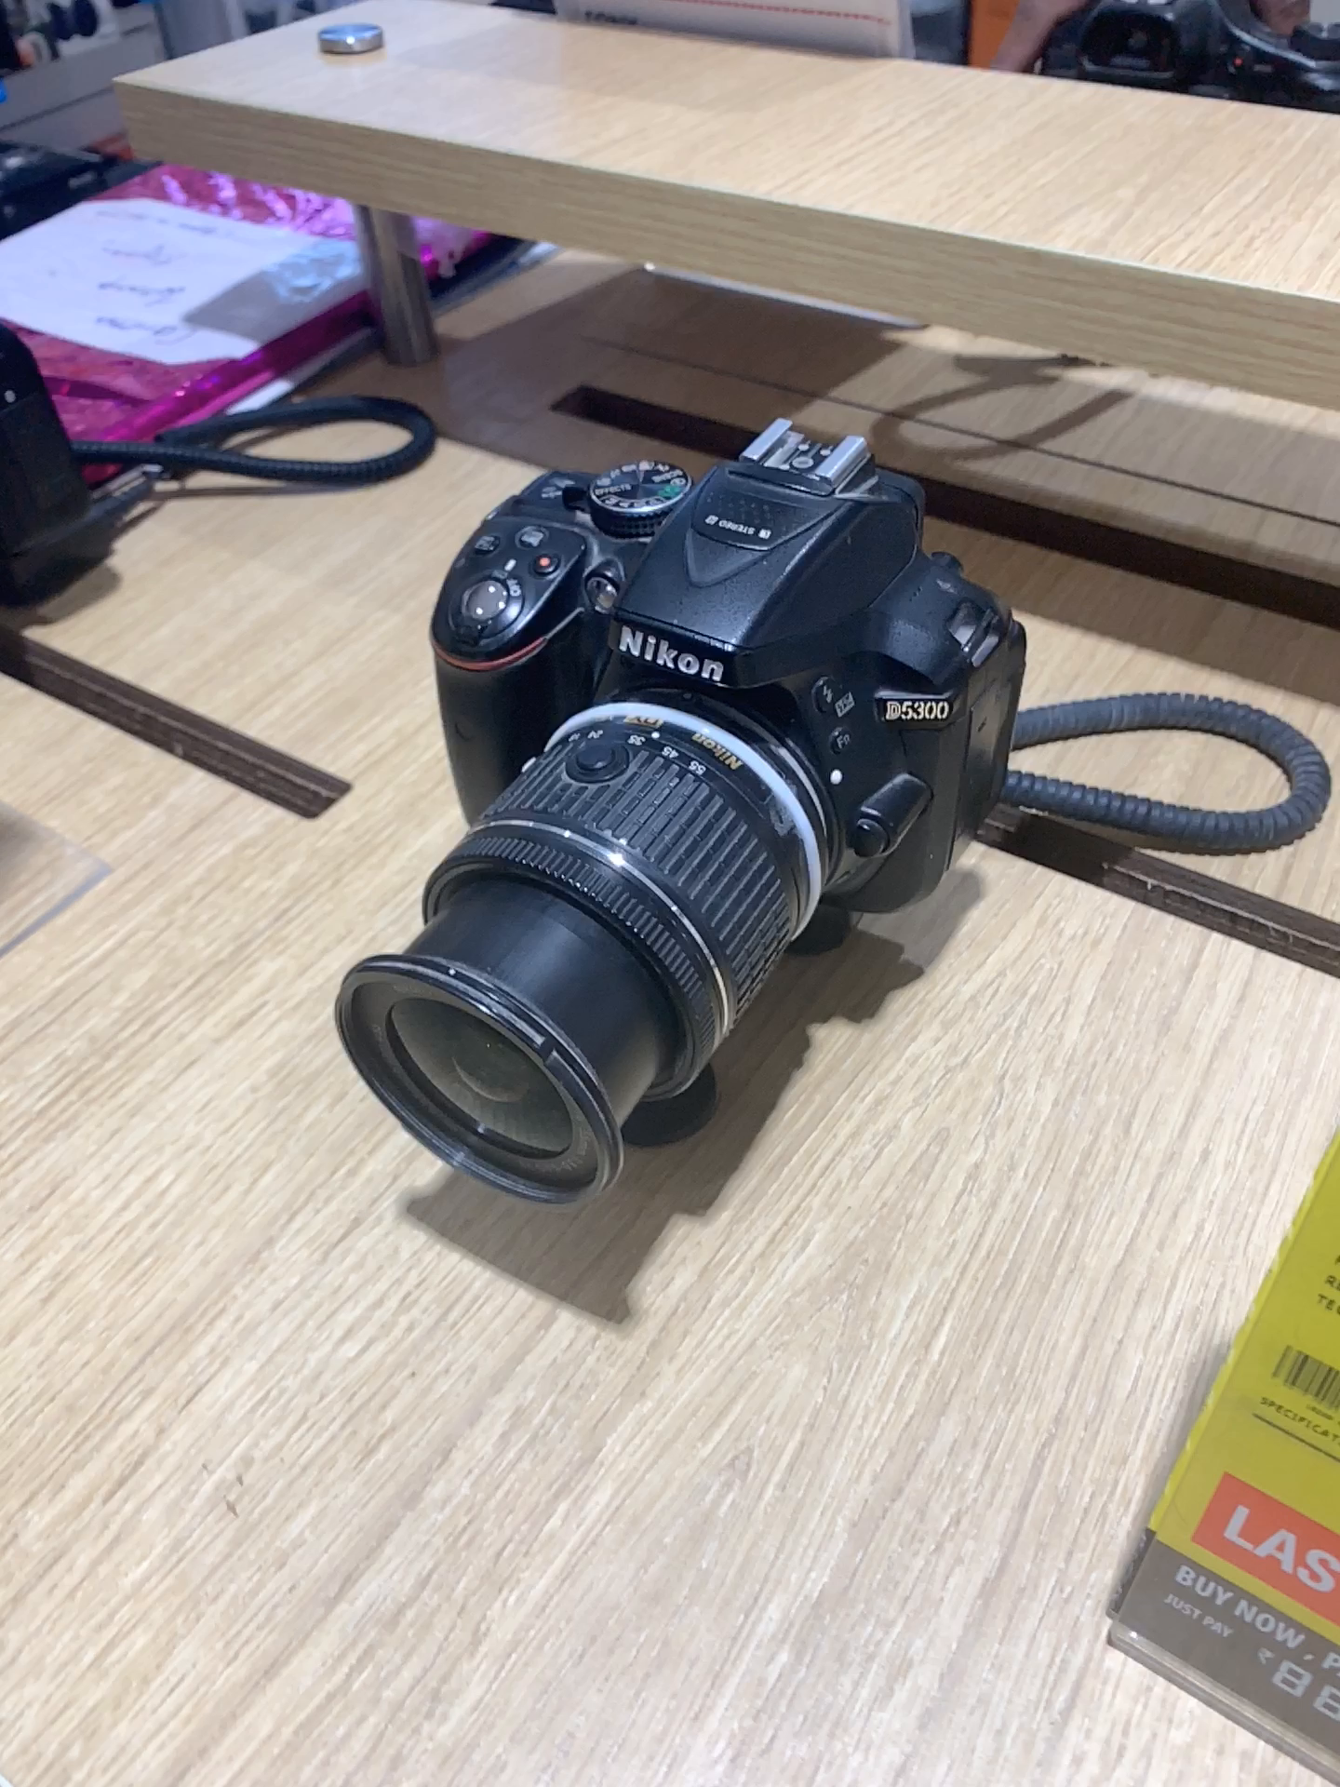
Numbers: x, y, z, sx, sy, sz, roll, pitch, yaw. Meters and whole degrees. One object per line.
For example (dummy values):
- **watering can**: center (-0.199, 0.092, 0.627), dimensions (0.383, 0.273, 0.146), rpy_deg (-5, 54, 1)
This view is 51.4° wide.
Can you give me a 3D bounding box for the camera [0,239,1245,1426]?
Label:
- **camera**: center (0.005, -0.036, 0.309), dimensions (0.160, 0.120, 0.210), rpy_deg (20, 50, 23)
